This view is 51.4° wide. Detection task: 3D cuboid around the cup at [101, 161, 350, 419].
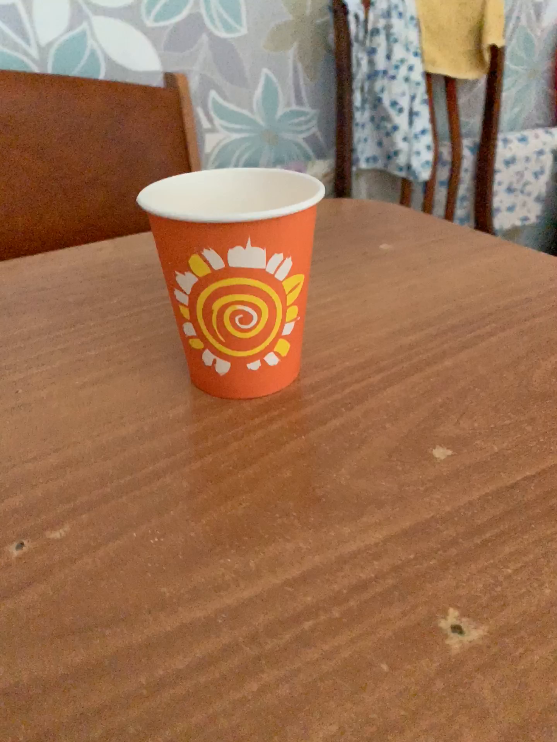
[{"bbox_3d":[-0.017,-0.045,0.280,0.084,0.087,0.089,-1,32,1],"label":"cup"}]
